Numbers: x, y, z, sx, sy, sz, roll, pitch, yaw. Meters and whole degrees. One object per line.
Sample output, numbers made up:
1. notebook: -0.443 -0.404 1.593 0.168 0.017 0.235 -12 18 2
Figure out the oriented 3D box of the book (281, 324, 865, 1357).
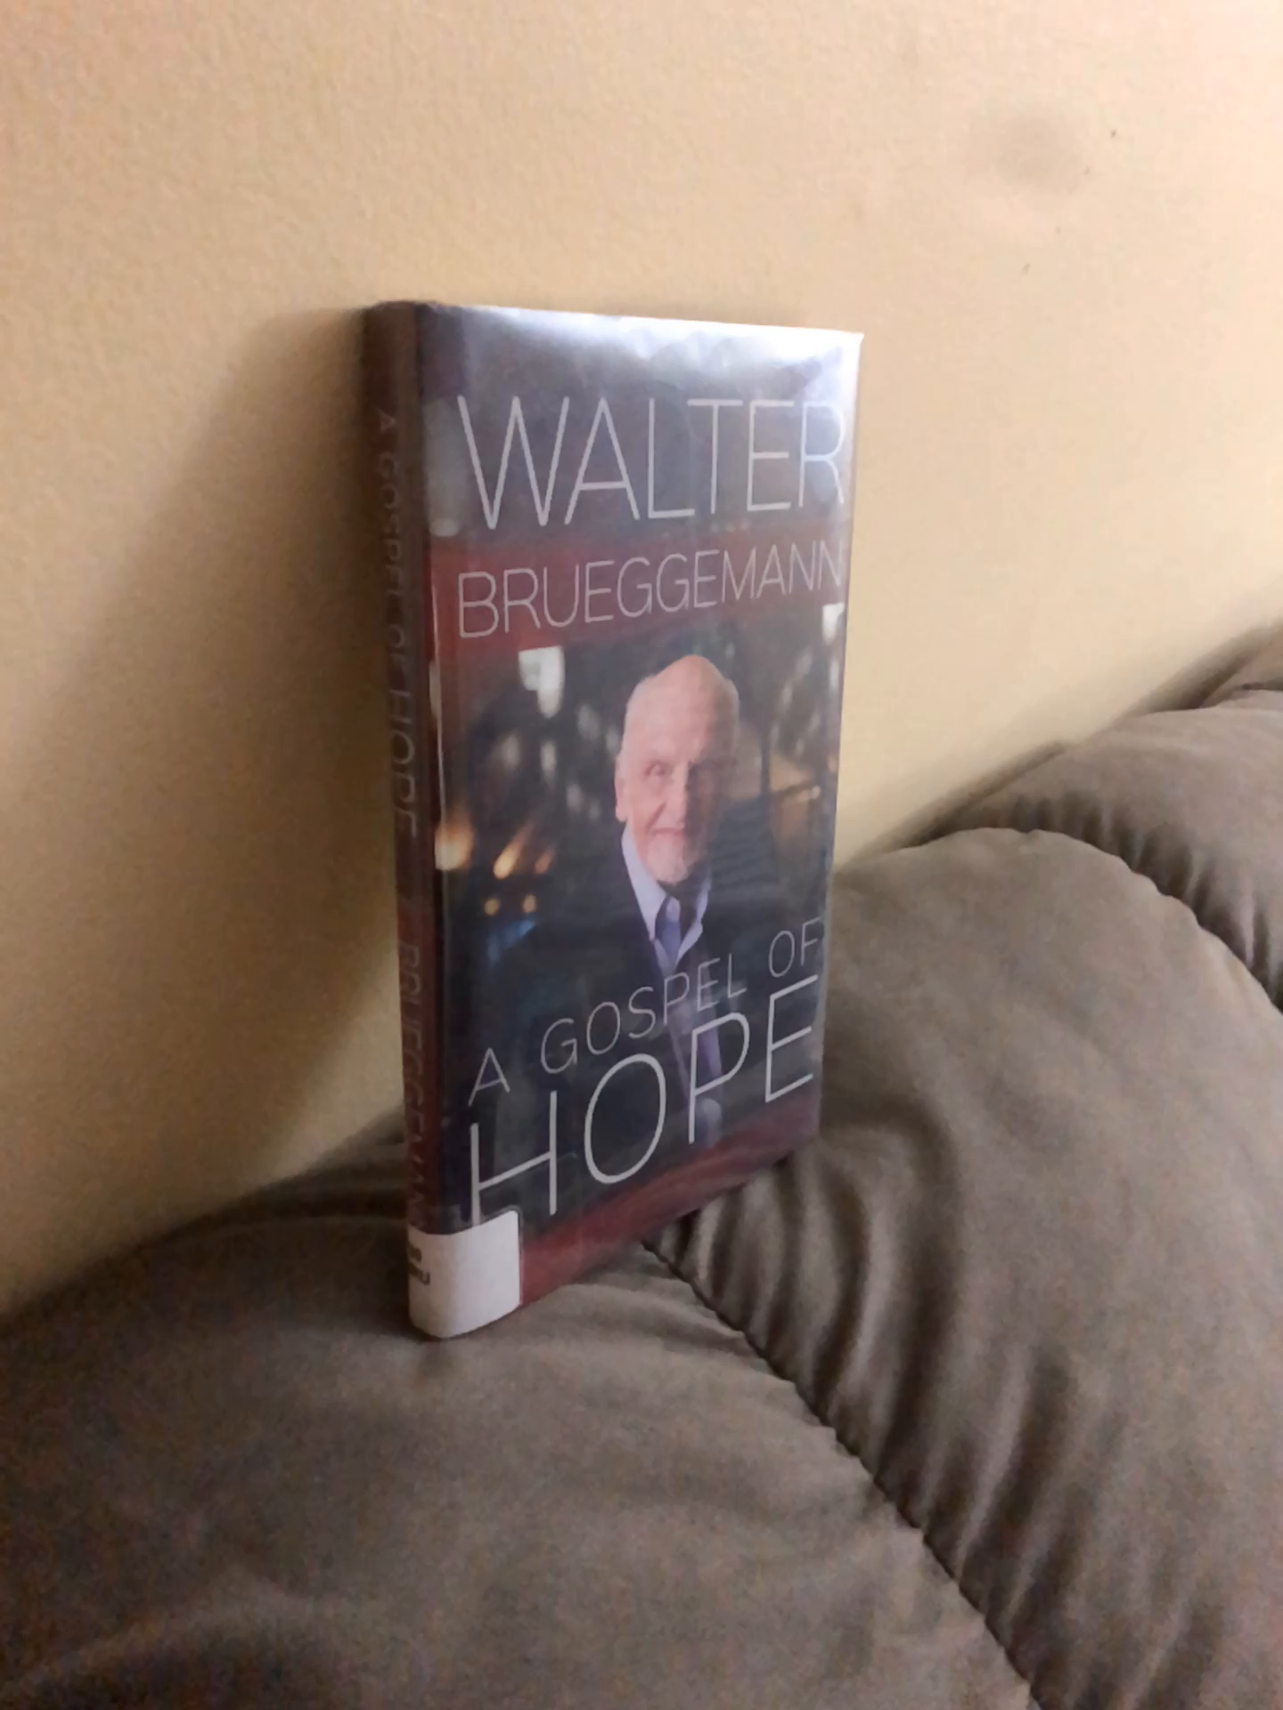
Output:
1. book: -0.004 -0.010 0.332 0.141 0.210 0.027 -17 23 -41
